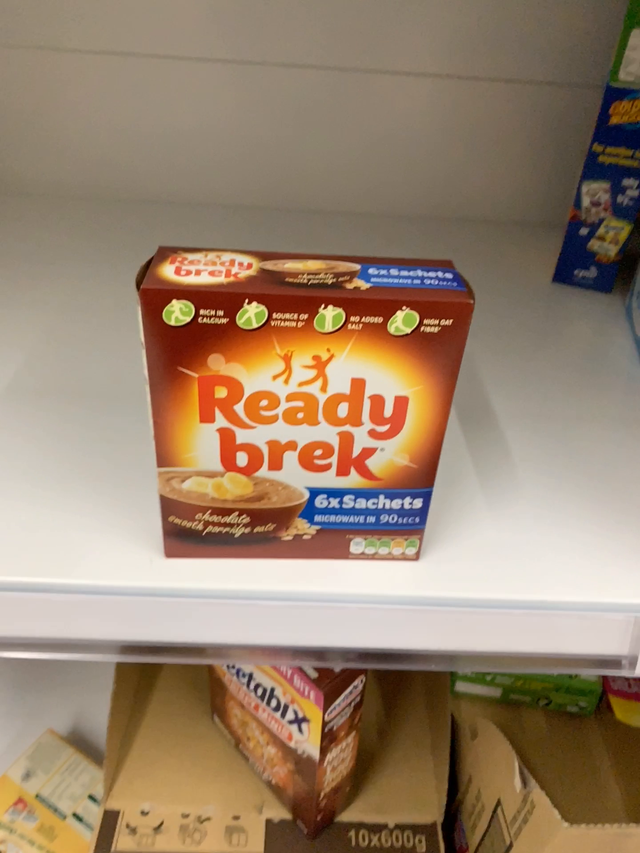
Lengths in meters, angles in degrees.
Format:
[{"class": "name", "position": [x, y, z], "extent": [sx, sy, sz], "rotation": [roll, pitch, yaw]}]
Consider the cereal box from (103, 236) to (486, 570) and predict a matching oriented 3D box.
[{"class": "cereal box", "position": [-0.018, -0.005, 0.389], "extent": [0.180, 0.188, 0.061], "rotation": [2, 35, -4]}]
